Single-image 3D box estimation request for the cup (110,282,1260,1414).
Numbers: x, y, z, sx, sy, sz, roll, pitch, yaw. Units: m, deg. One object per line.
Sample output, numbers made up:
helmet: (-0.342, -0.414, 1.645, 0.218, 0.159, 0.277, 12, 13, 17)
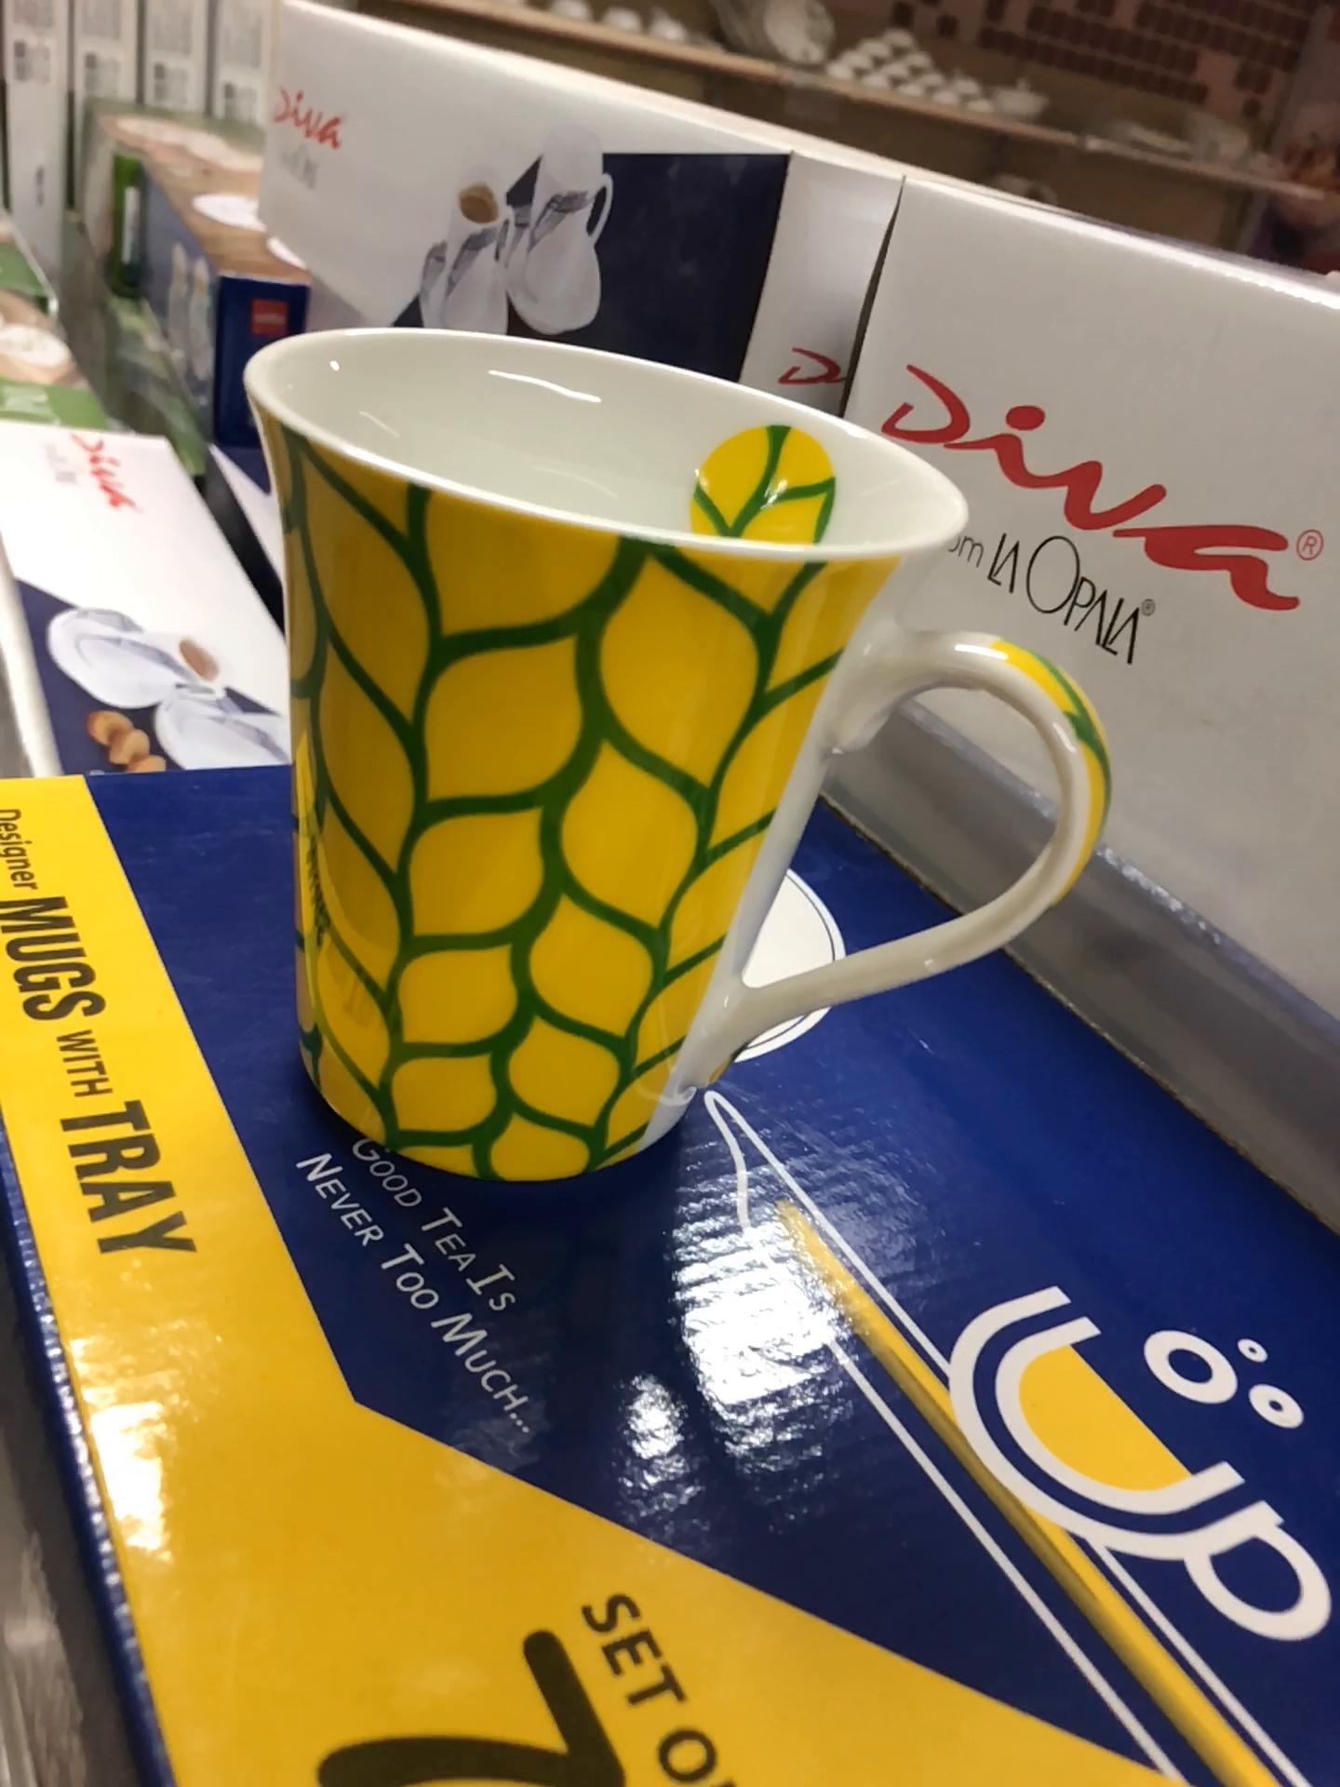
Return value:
cup: (0.002, -0.015, 0.190, 0.110, 0.089, 0.080, 20, 29, 13)
